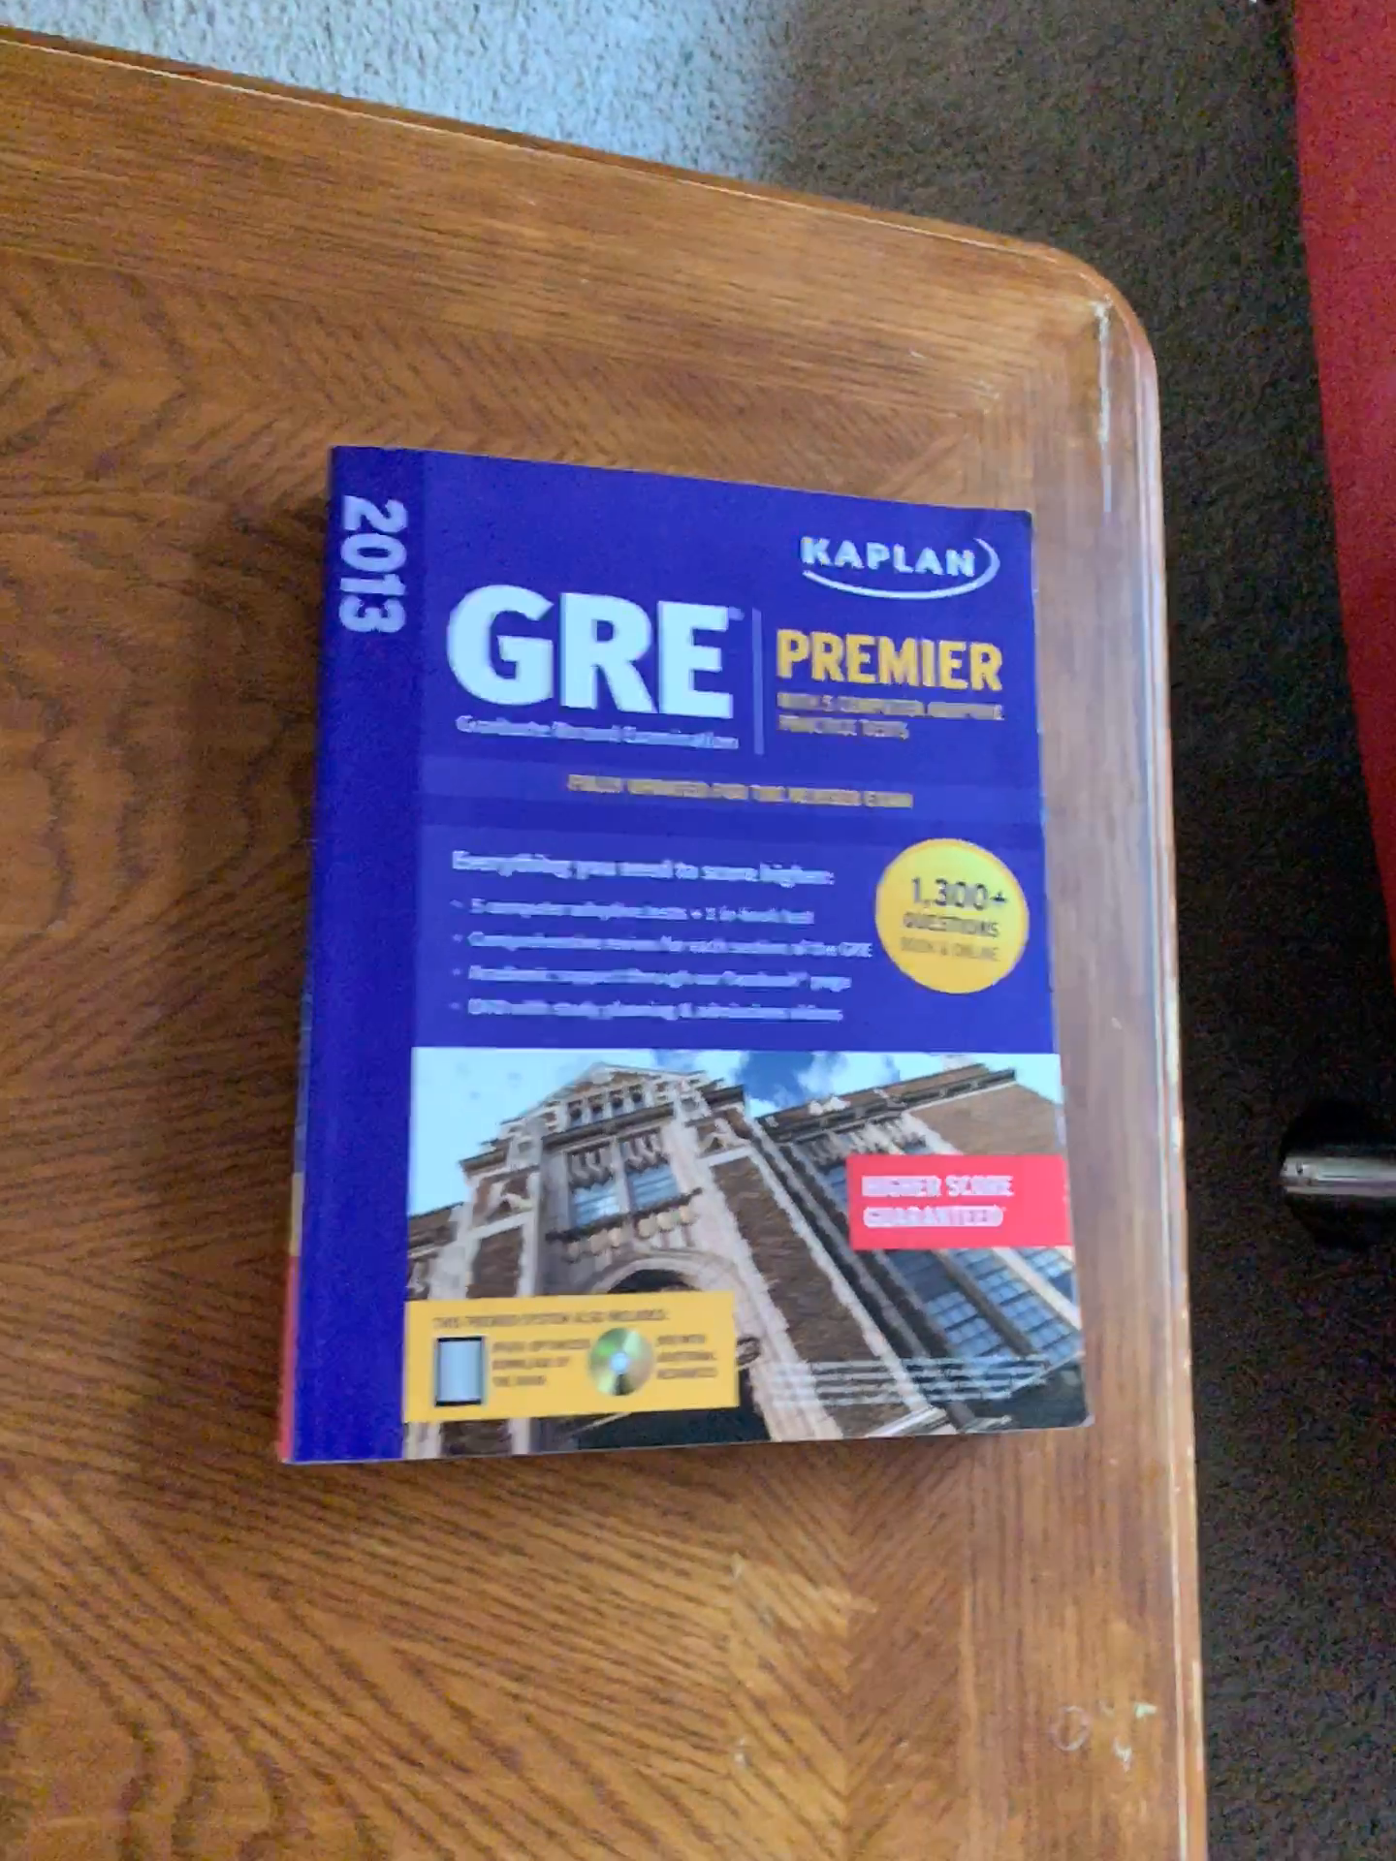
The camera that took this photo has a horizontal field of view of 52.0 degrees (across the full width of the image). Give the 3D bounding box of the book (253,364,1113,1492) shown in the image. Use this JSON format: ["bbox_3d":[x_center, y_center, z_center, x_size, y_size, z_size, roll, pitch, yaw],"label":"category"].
[{"bbox_3d":[-0.004,-0.002,0.414,0.220,0.060,0.290,2,78,-13],"label":"book"}]
